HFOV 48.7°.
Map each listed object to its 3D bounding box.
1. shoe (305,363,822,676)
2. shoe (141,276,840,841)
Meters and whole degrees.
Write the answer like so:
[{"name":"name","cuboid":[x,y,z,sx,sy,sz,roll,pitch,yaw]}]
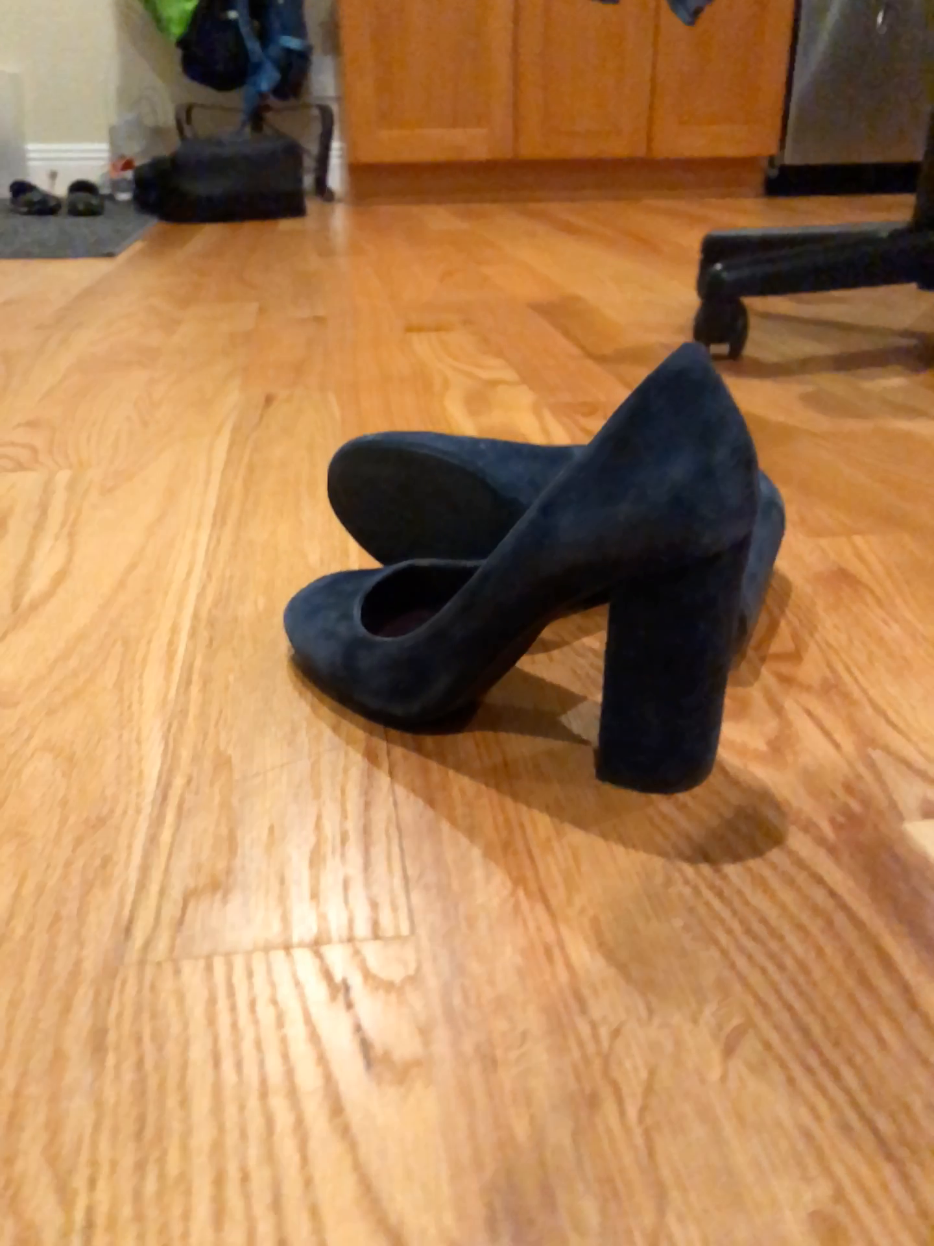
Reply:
[{"name":"shoe","cuboid":[0.053,-0.061,0.489,0.204,0.080,0.153,8,27,17]},{"name":"shoe","cuboid":[0.000,-0.038,0.378,0.226,0.146,0.080,15,30,29]}]
